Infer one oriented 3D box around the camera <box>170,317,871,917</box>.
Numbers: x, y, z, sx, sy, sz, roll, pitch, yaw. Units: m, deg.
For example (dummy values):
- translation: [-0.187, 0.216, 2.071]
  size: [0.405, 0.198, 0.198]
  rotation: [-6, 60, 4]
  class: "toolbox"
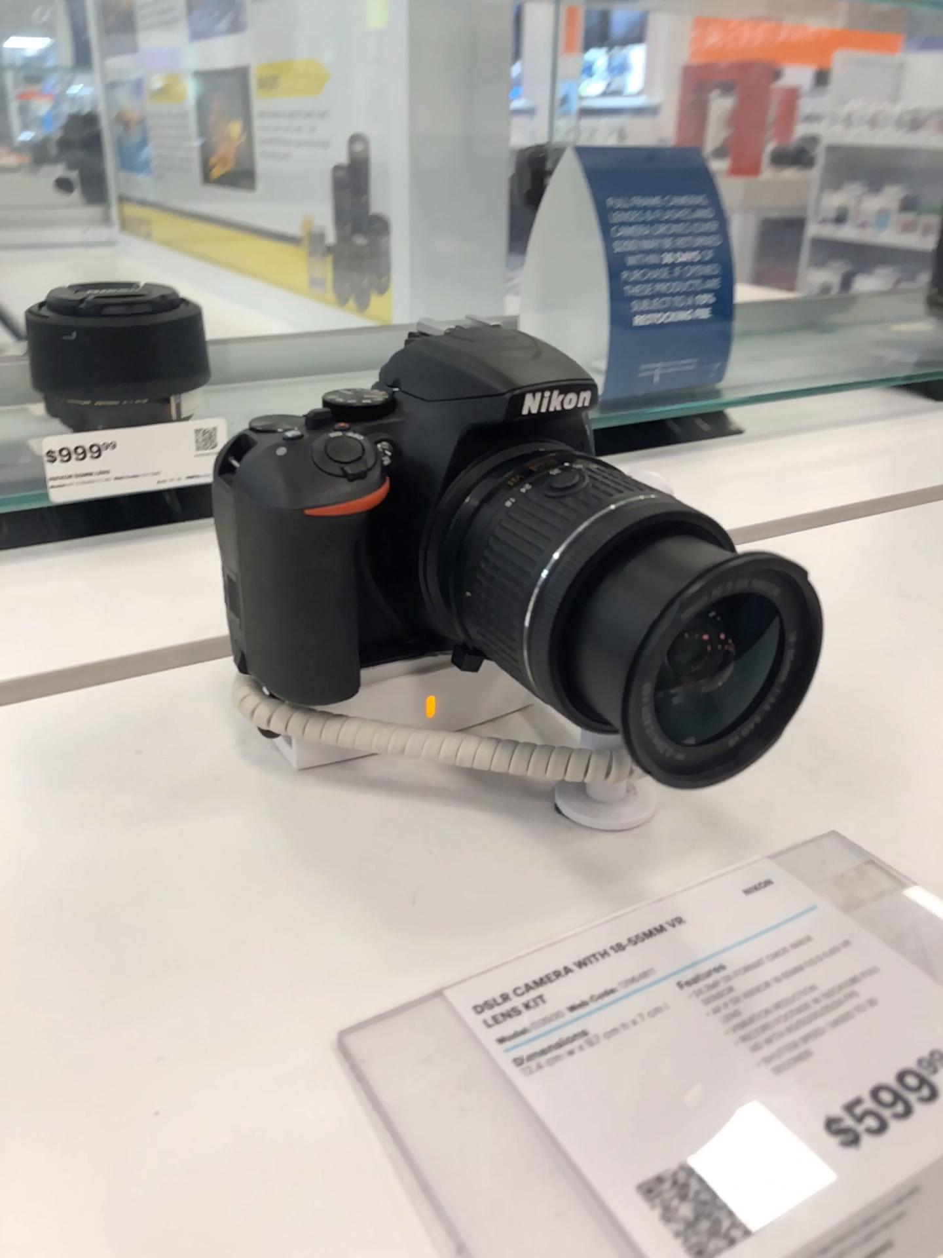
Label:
- translation: [-0.001, -0.025, 0.306]
  size: [0.120, 0.100, 0.170]
  rotation: [-13, 28, -26]
  class: "camera"
